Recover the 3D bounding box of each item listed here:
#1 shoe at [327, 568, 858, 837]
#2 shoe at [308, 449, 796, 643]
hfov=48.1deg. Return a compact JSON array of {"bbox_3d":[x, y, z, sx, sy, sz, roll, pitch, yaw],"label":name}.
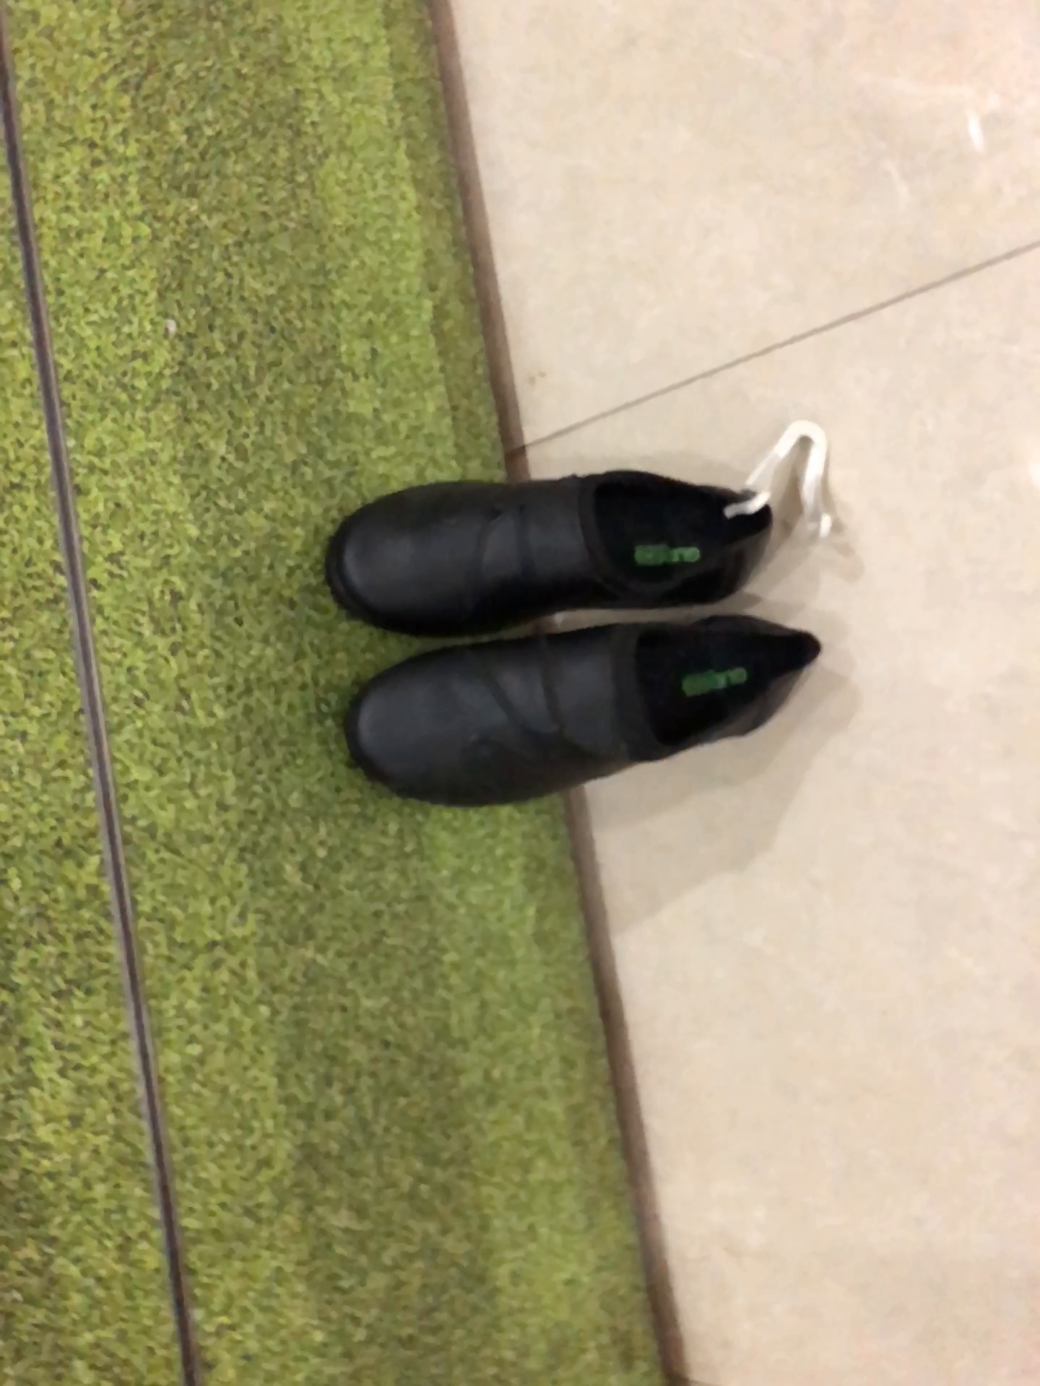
[{"bbox_3d":[0.031,0.006,0.614,0.107,0.248,0.087,155,104,-79],"label":"shoe"},{"bbox_3d":[0.016,-0.074,0.586,0.067,0.228,0.074,174,91,-74],"label":"shoe"}]
